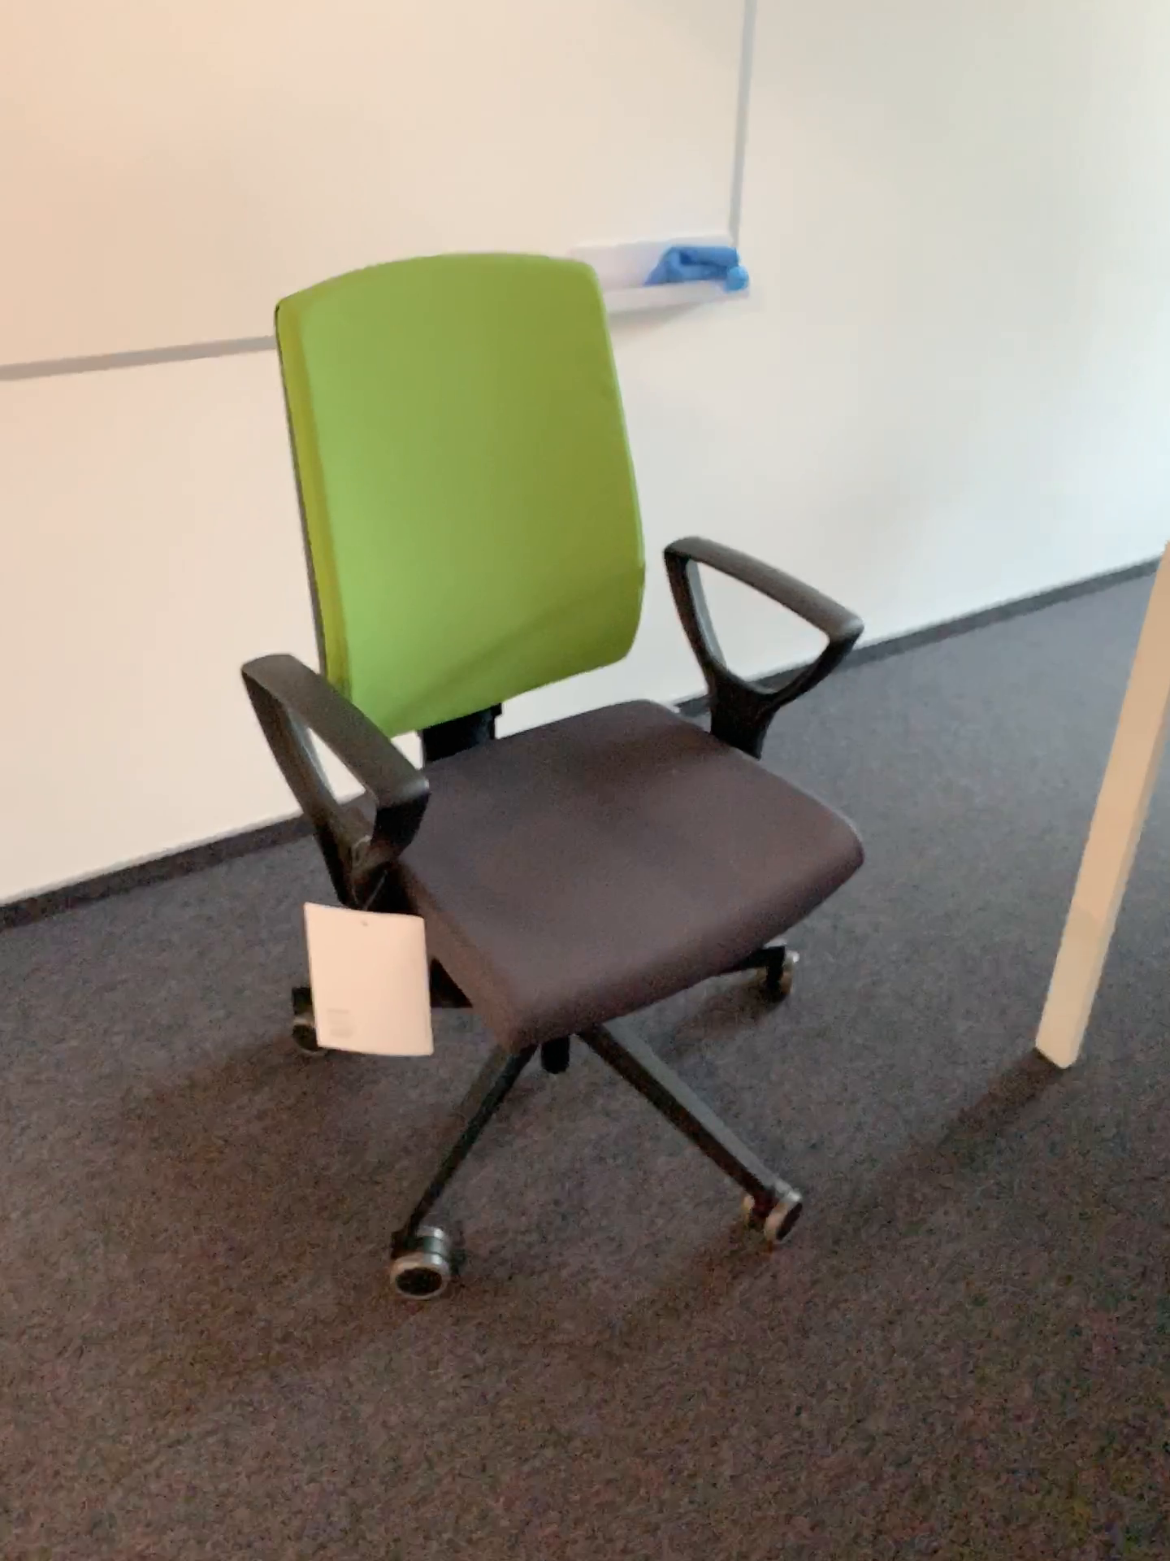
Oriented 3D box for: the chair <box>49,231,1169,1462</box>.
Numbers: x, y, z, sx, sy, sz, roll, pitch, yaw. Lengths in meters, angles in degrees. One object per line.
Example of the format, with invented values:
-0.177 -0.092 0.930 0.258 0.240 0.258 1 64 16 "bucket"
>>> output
0.003 -0.019 1.372 0.762 0.965 0.732 -22 39 -32 "chair"
